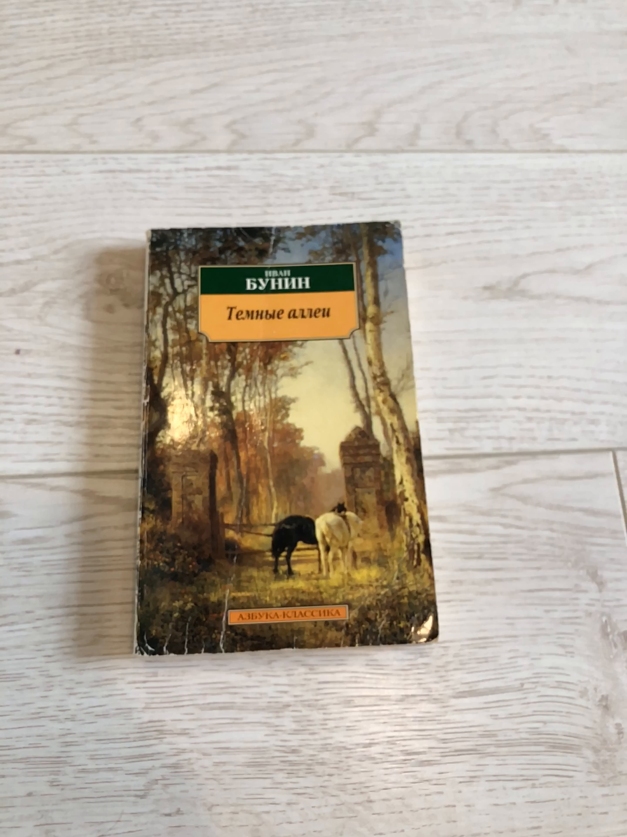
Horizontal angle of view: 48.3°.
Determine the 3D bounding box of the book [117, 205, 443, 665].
[{"bbox_3d":[-0.015,0.001,0.278,0.112,0.024,0.177,-2,73,-2],"label":"book"}]
